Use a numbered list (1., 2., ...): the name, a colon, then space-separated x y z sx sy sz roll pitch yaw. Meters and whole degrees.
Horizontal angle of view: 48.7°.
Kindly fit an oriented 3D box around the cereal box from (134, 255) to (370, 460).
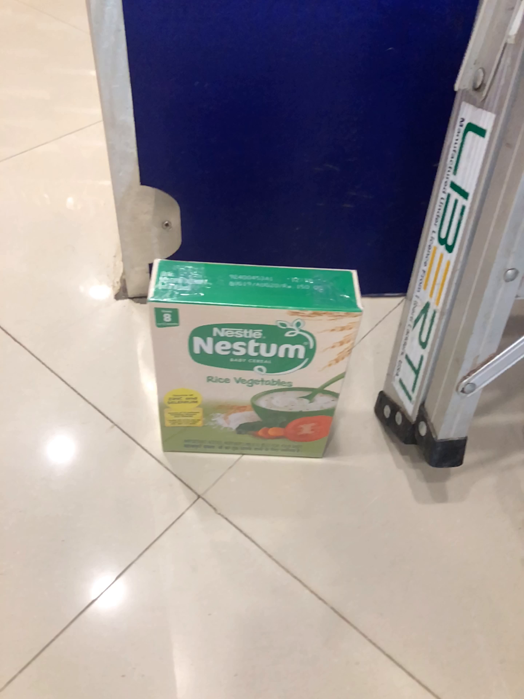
1. cereal box: -0.012 0.017 0.478 0.160 0.189 0.050 2 48 -3
